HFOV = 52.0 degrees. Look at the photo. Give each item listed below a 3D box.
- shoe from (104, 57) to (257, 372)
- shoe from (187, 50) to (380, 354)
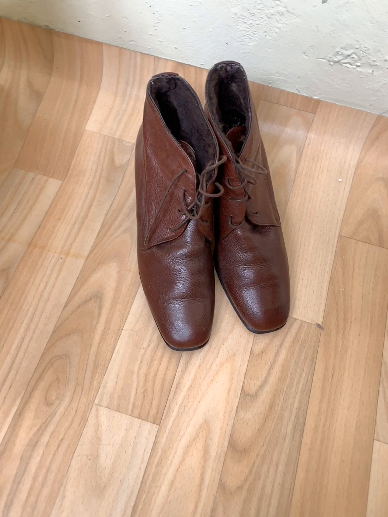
[{"bbox_3d":[-0.019,-0.028,0.344,0.080,0.150,0.220,-6,68,-4],"label":"shoe"},{"bbox_3d":[0.057,-0.042,0.364,0.080,0.150,0.220,-11,69,-6],"label":"shoe"}]
